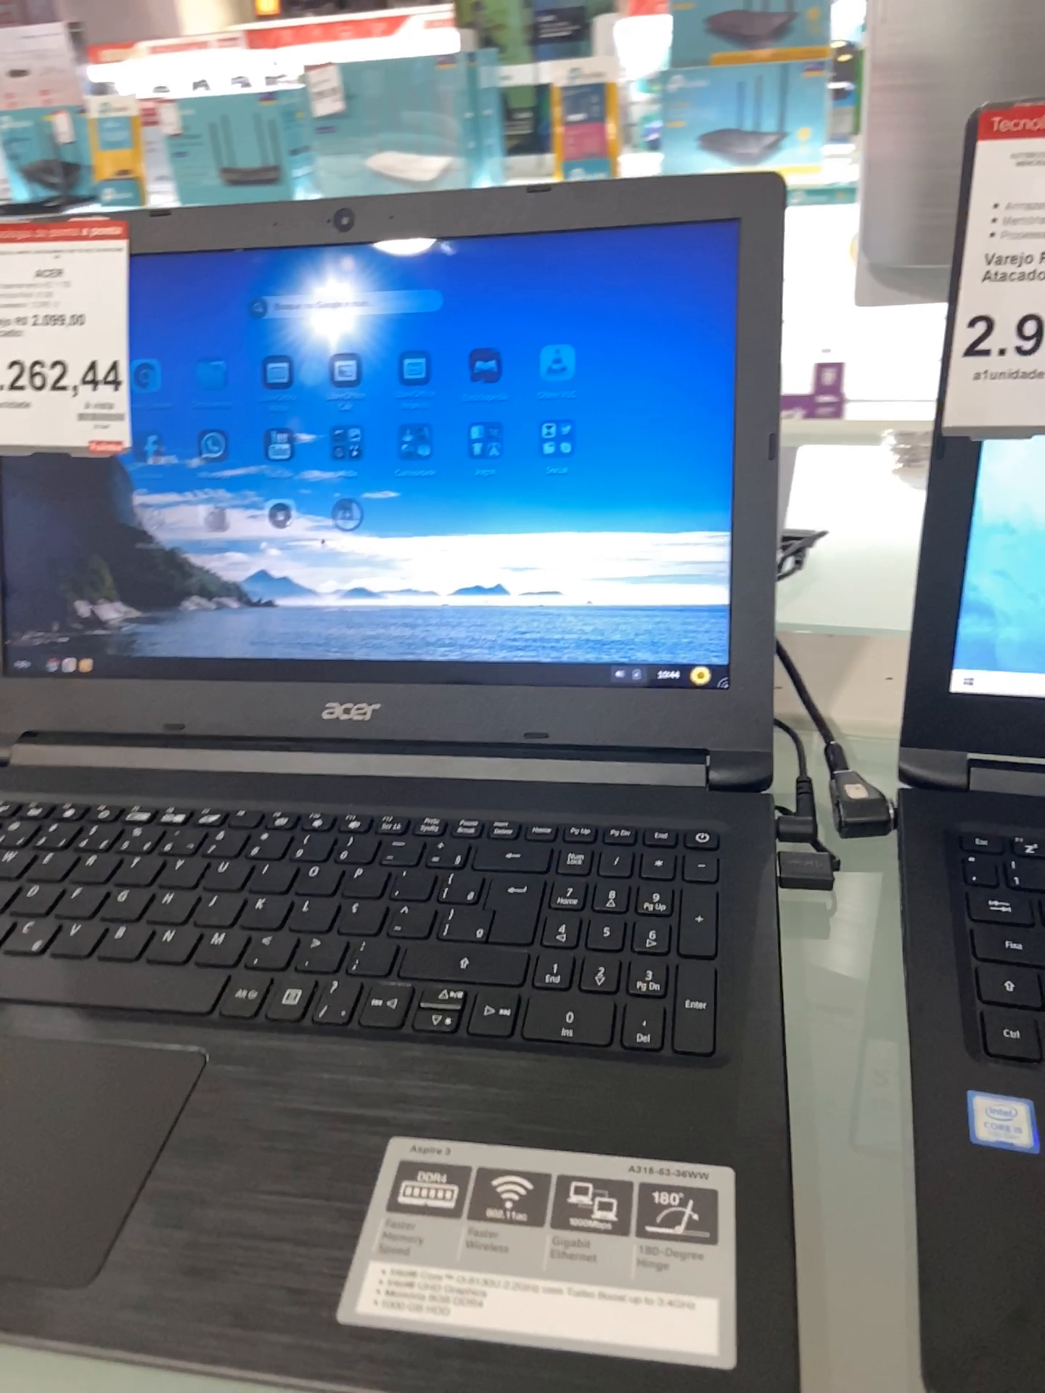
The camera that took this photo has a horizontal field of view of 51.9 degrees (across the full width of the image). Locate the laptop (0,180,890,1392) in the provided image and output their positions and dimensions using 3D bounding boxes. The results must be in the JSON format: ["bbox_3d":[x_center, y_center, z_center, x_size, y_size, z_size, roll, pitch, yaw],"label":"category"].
[{"bbox_3d":[-0.104,-0.026,0.383,0.389,0.226,0.377,1,31,11],"label":"laptop"}]
